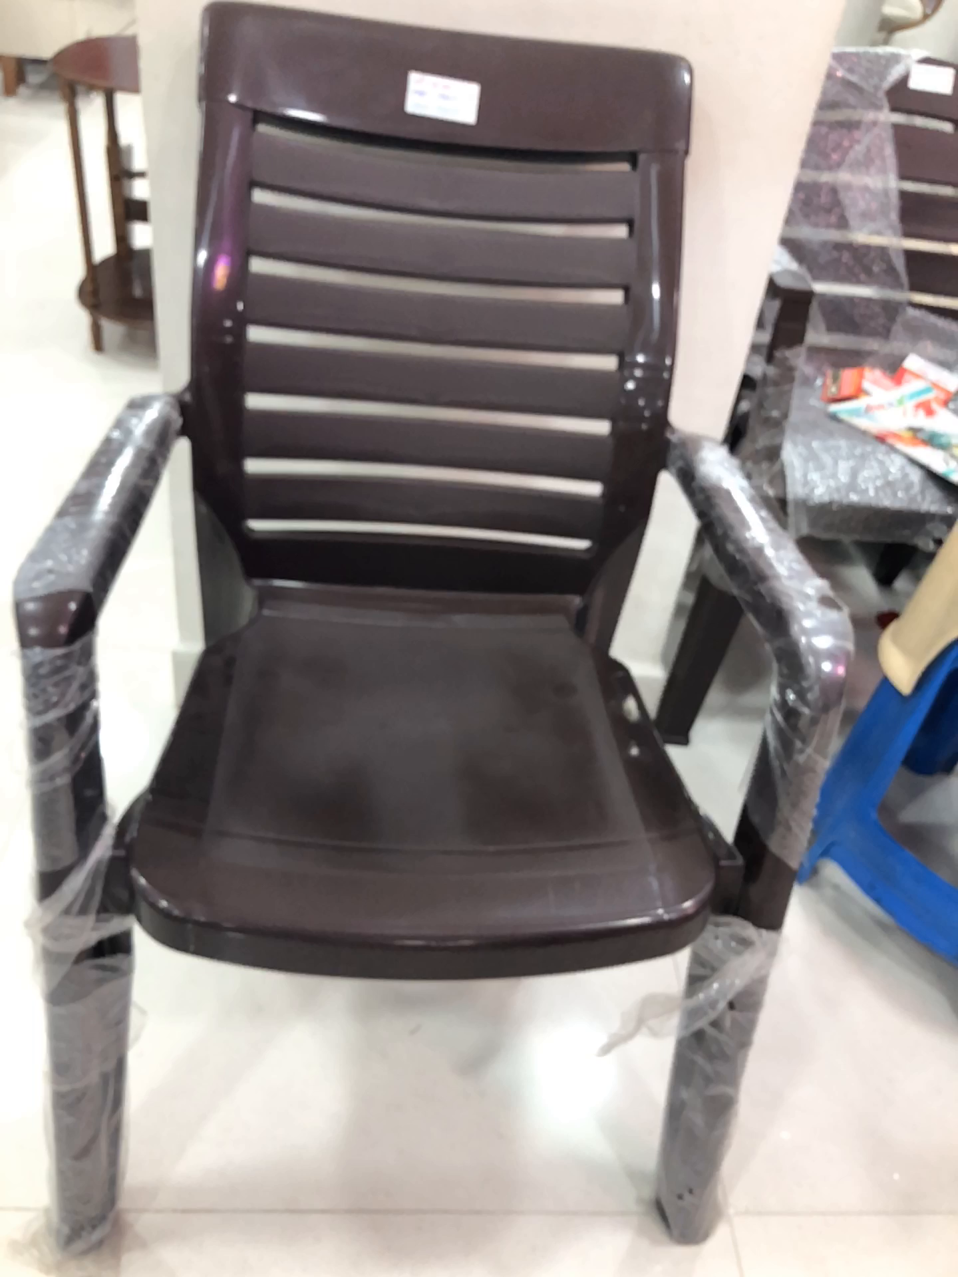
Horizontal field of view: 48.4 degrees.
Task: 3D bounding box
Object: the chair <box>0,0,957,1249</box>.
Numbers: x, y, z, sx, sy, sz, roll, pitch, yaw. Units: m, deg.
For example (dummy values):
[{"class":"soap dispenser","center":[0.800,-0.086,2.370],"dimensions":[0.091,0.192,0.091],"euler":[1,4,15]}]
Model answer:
[{"class":"chair","center":[-0.047,-0.034,0.983],"dimensions":[0.640,1.003,0.674],"euler":[3,36,-8]}]
